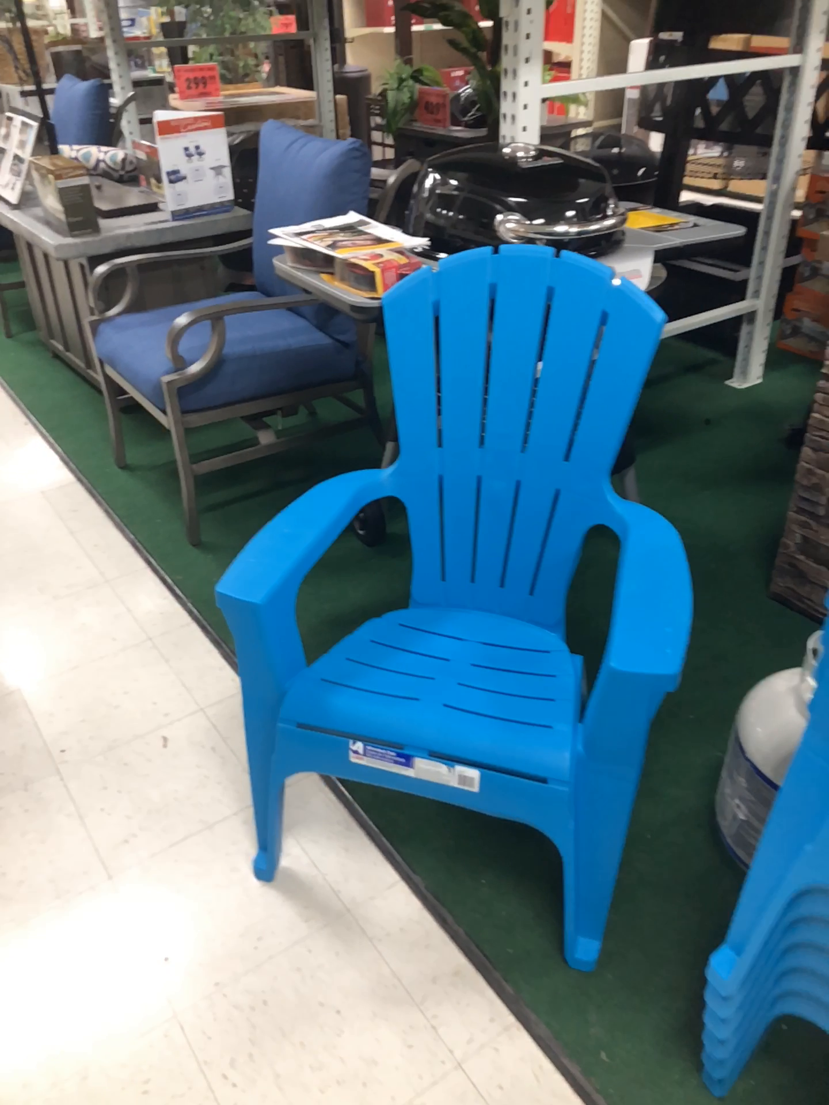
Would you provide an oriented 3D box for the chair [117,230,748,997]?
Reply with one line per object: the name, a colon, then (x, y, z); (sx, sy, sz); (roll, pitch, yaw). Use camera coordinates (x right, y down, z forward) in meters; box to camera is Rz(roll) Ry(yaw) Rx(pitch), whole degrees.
chair: (0.092, 0.055, 1.463); (0.681, 0.932, 0.650); (9, 34, 16)
